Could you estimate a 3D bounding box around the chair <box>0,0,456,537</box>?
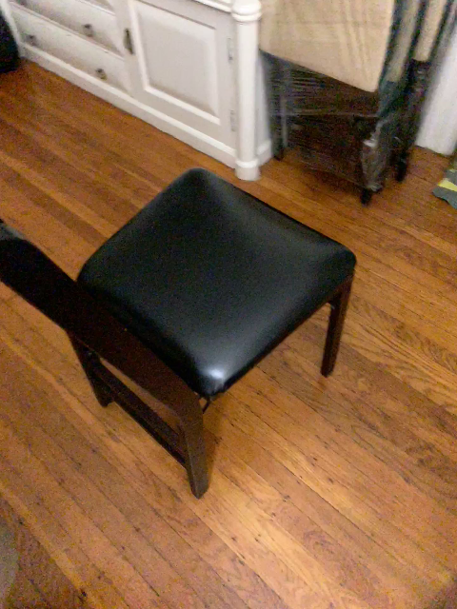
[{"bbox_3d":[-0.064,-0.094,0.783,0.491,0.866,0.551,34,62,24],"label":"chair"}]
